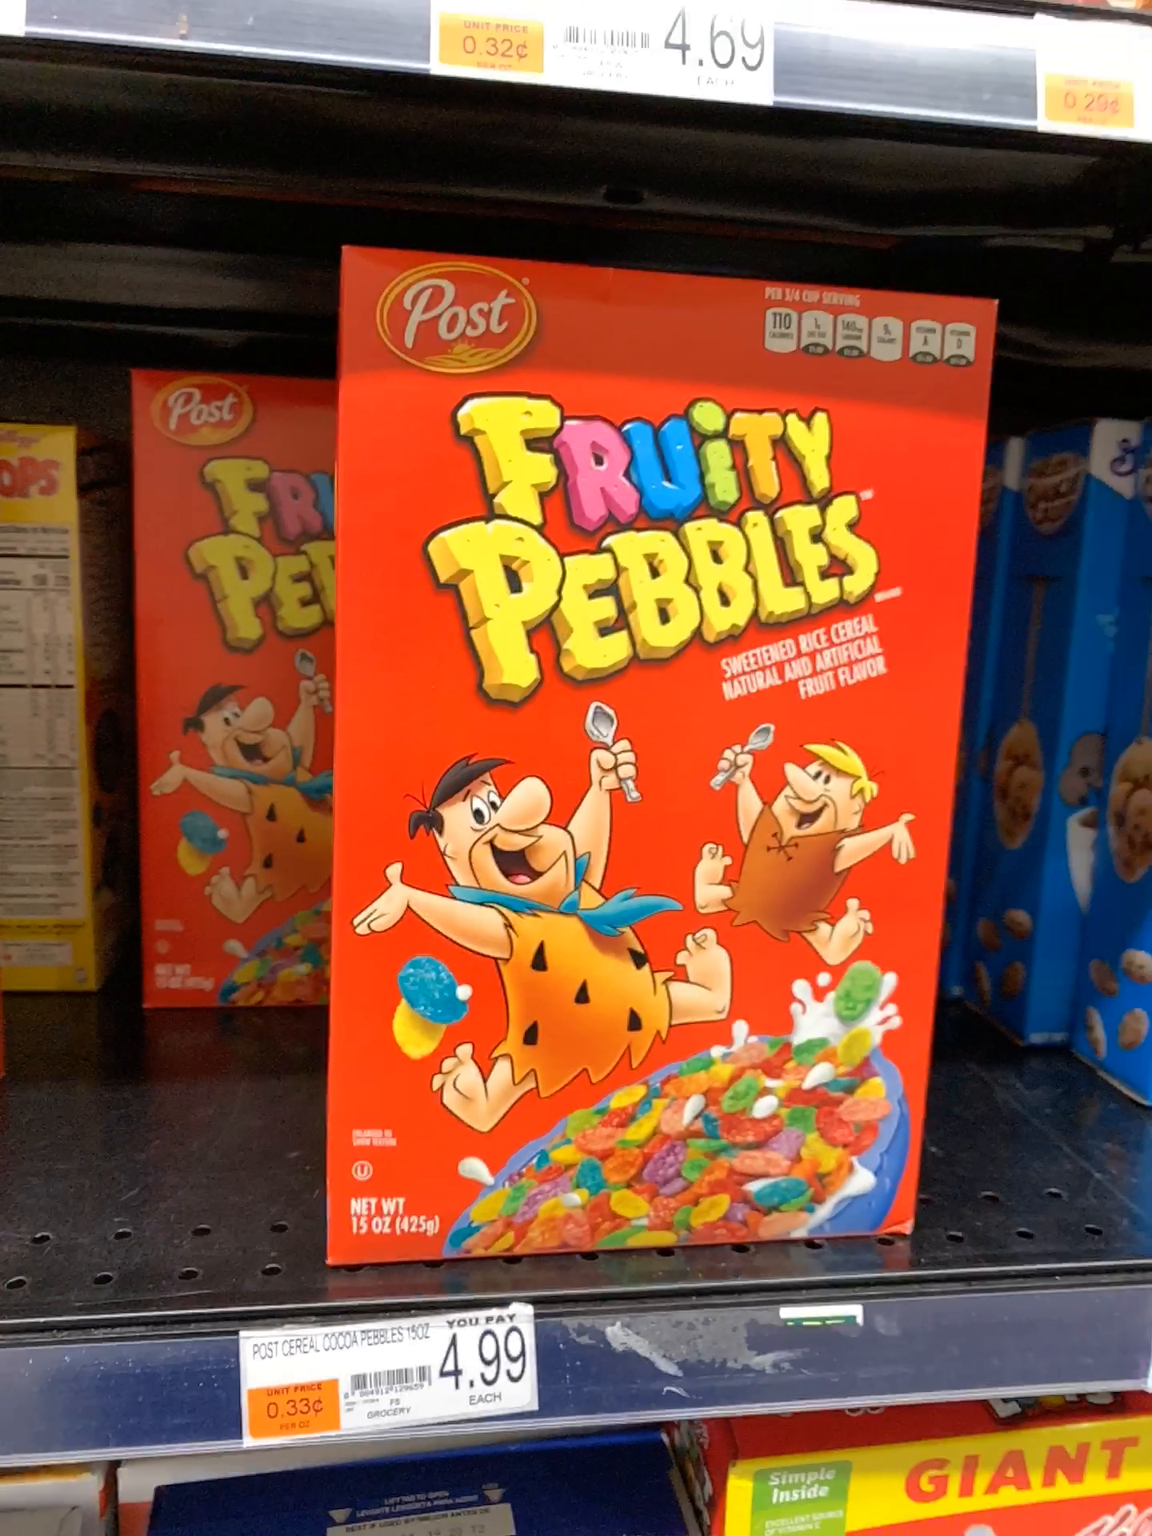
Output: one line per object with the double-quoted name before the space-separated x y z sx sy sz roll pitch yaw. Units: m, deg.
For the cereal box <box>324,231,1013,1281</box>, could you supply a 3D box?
"cereal box" 0.022 0.002 0.392 0.200 0.309 0.060 1 8 -8
